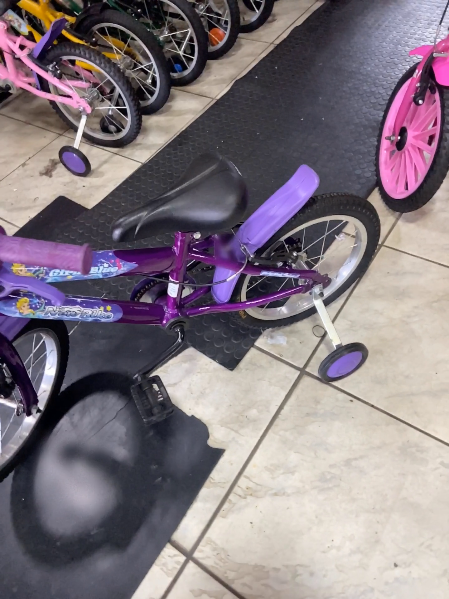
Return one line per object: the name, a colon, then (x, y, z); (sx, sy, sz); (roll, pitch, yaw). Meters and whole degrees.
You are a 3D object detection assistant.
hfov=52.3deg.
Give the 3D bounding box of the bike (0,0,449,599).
bike: (-0.125, -0.034, 0.773); (0.971, 0.743, 0.449); (-31, 53, -13)
